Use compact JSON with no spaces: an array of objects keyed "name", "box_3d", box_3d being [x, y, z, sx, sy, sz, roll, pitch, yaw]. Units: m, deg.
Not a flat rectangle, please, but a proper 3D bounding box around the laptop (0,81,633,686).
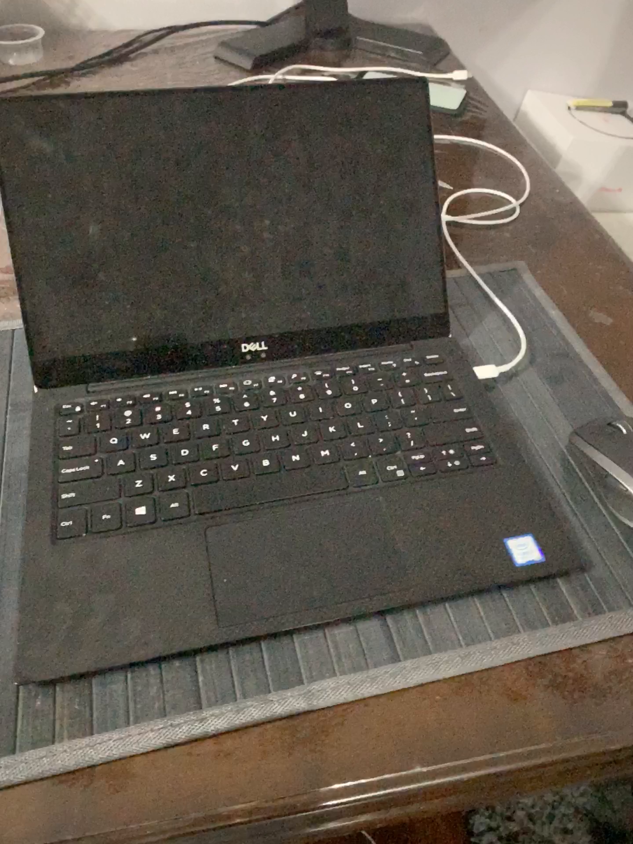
[{"name":"laptop","box_3d":[-0.038,-0.057,0.362,0.282,0.129,0.299,-9,49,-11]}]
